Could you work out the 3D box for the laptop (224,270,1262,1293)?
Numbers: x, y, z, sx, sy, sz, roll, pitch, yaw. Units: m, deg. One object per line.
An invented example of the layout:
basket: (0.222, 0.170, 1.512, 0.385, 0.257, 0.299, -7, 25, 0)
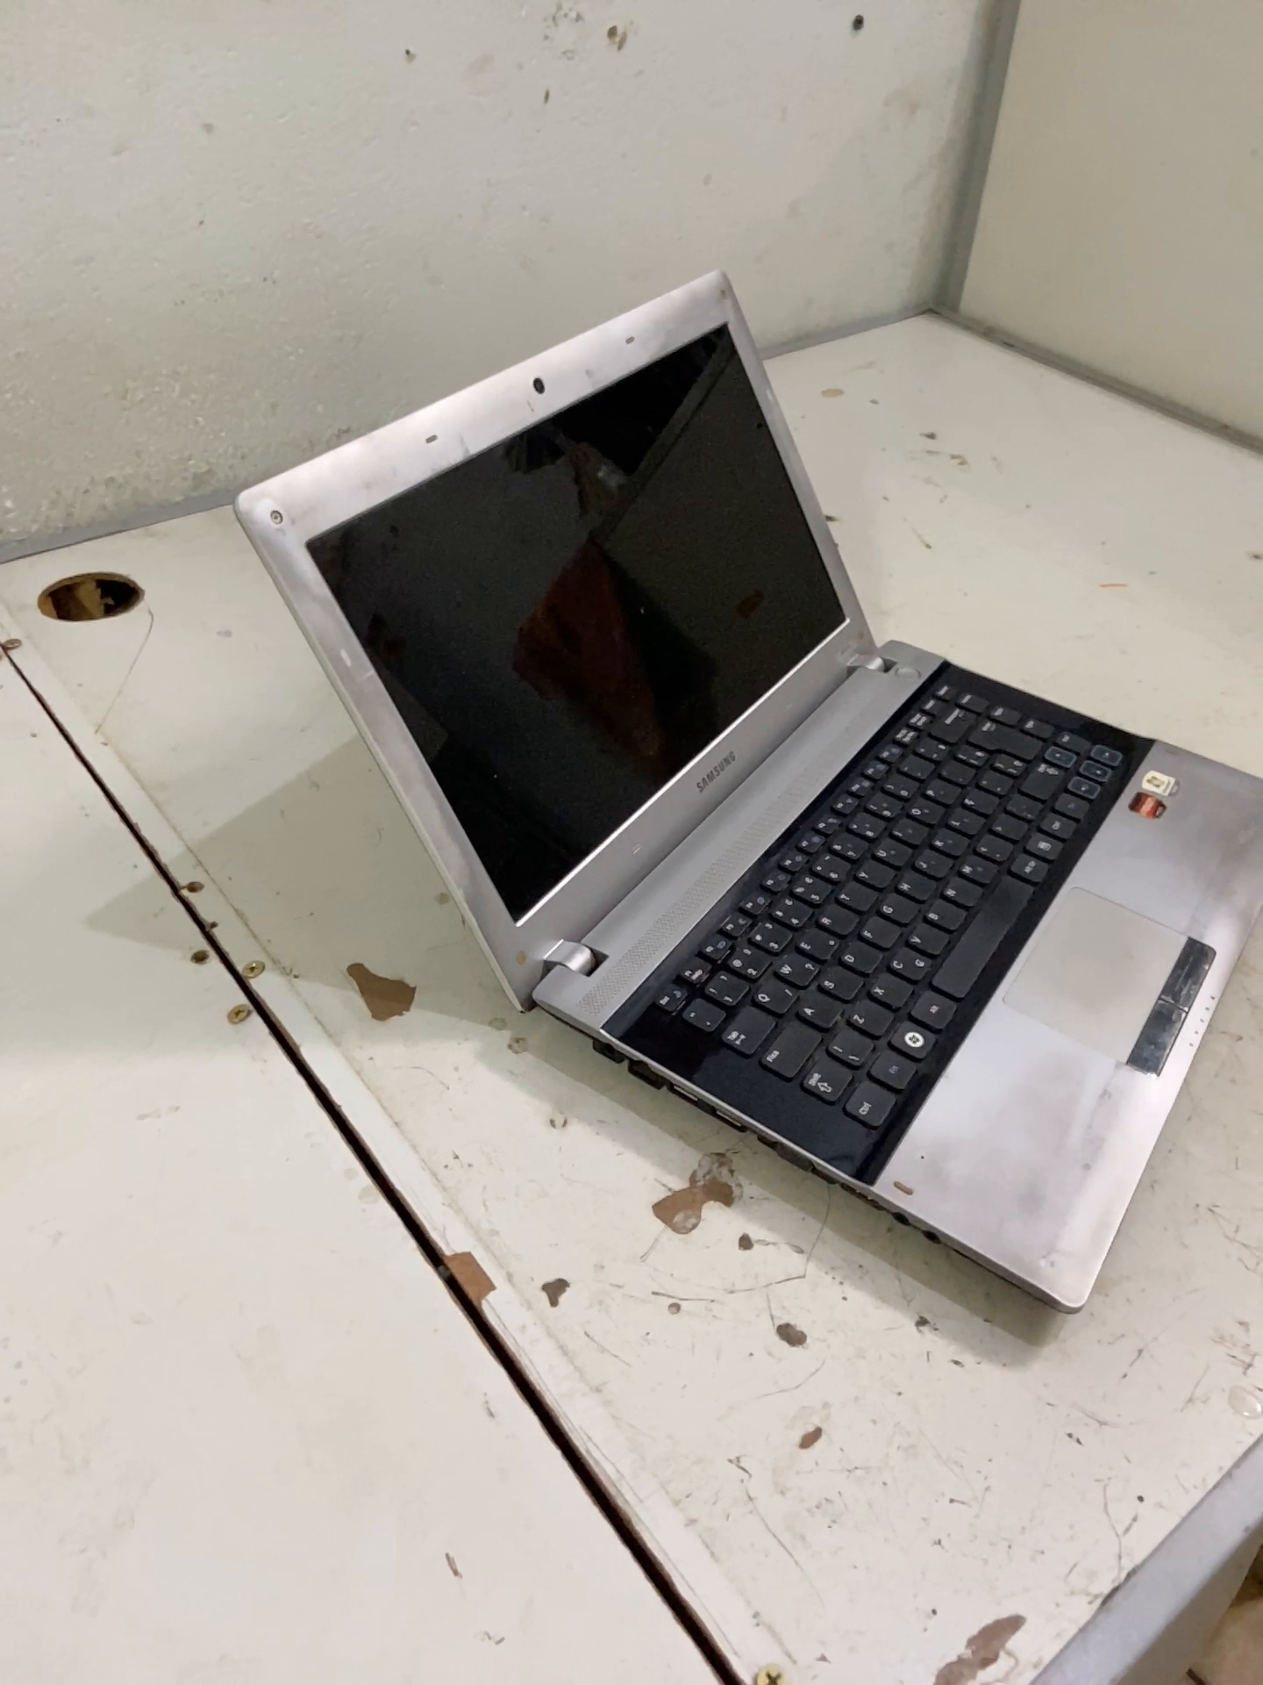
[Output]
laptop: (0.098, -0.077, 0.562, 0.366, 0.180, 0.343, 25, 45, 24)
